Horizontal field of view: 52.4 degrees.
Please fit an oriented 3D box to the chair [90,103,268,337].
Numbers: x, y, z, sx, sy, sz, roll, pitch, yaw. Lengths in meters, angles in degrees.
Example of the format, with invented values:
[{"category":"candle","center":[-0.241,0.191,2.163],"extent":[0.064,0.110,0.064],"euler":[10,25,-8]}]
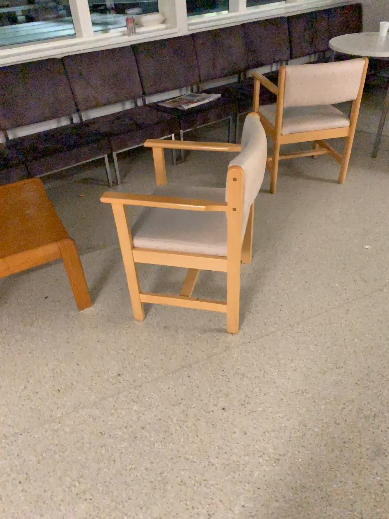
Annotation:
[{"category":"chair","center":[-0.002,-0.166,1.604],"extent":[0.510,0.753,0.515],"euler":[5,39,11]}]
